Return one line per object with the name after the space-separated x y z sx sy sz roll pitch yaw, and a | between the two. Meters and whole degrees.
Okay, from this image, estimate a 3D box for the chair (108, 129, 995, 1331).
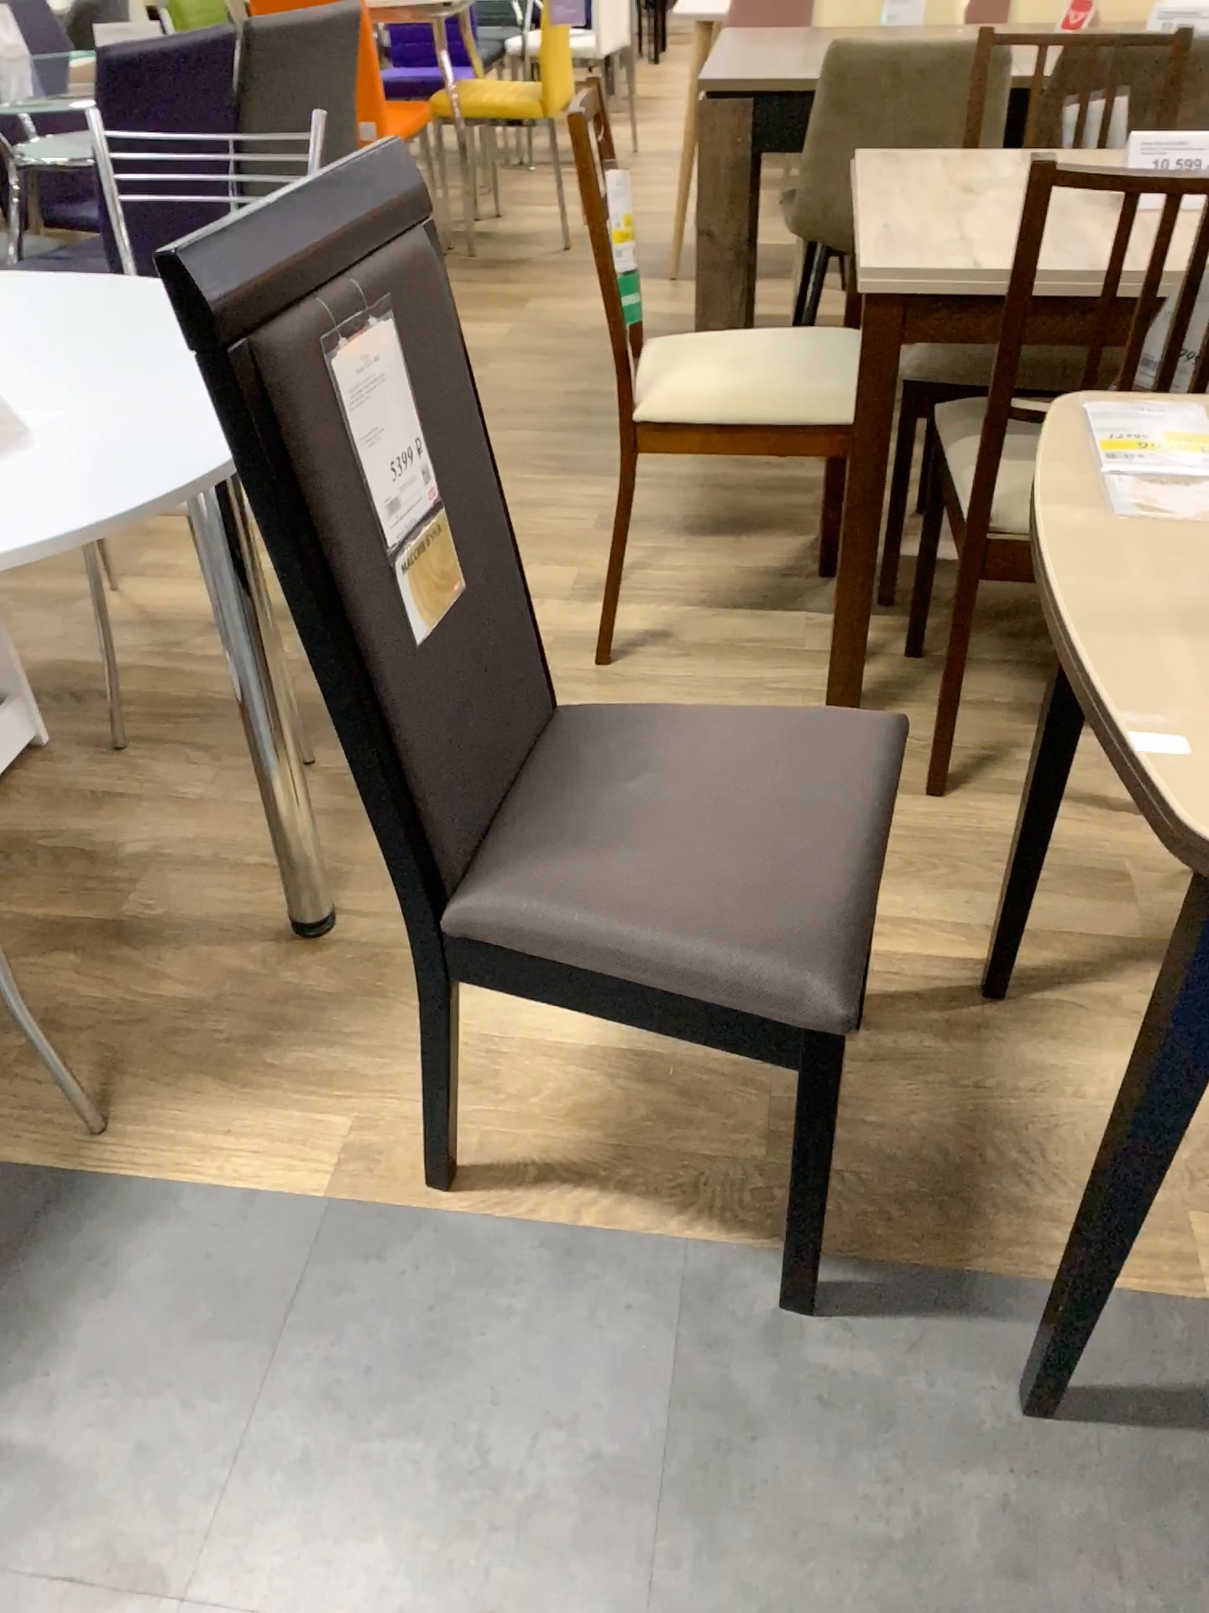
0.016 -0.032 1.167 0.500 0.994 0.442 9 40 15 | chair
